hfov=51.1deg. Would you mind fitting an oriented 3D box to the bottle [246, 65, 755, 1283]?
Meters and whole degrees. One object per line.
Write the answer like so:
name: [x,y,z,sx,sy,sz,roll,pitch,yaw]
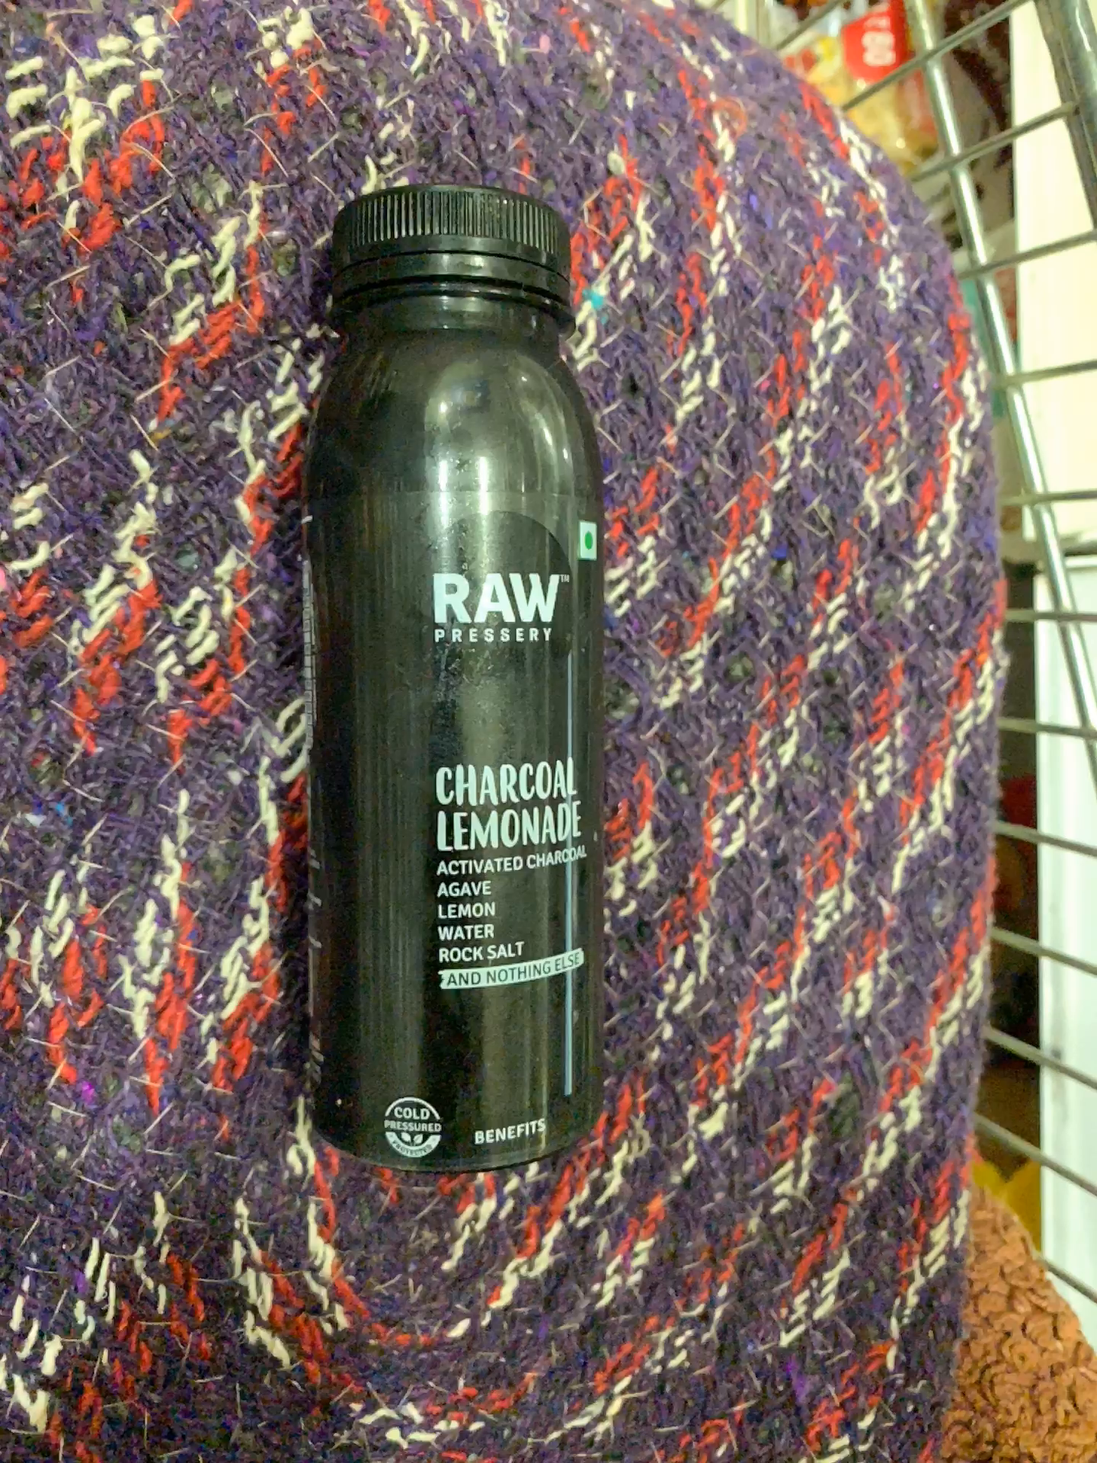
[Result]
bottle: [-0.012,-0.006,0.186,0.060,0.050,0.160,-1,98,-28]
